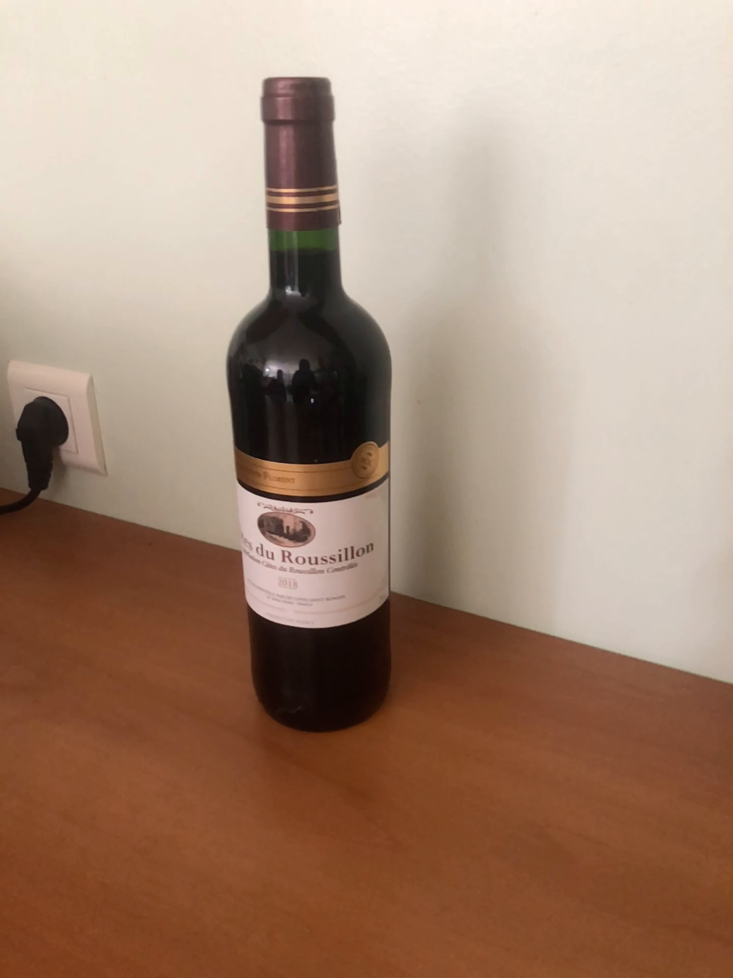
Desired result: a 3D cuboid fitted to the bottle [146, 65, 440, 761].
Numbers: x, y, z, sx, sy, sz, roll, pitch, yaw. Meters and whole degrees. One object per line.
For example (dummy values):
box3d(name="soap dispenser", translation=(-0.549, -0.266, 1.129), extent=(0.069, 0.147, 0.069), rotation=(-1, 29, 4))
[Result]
box3d(name="bottle", translation=(-0.023, -0.026, 0.364), extent=(0.080, 0.288, 0.080), rotation=(0, 26, 0))
